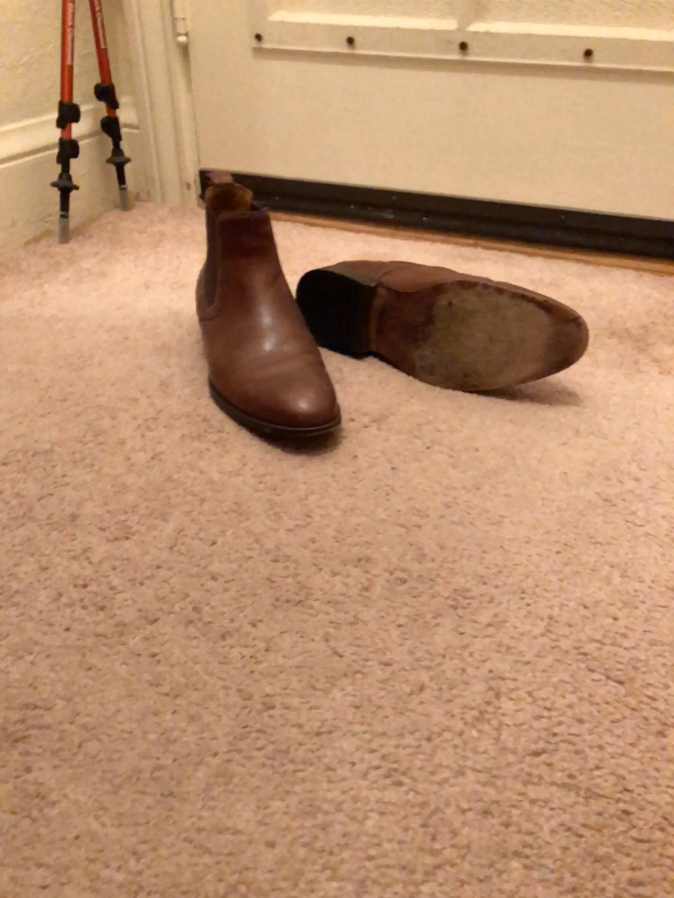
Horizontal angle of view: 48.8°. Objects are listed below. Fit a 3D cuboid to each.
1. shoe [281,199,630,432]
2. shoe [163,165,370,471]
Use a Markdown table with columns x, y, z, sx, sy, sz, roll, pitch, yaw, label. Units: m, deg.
| x | y | z | sx | sy | sz | roll | pitch | yaw | label |
| --- | --- | --- | --- | --- | --- | --- | --- | --- | --- |
| 0.114 | -0.150 | 0.758 | 0.296 | 0.118 | 0.170 | 20 | 38 | 24 | shoe |
| -0.075 | -0.138 | 0.682 | 0.109 | 0.158 | 0.298 | -10 | 36 | -15 | shoe |
